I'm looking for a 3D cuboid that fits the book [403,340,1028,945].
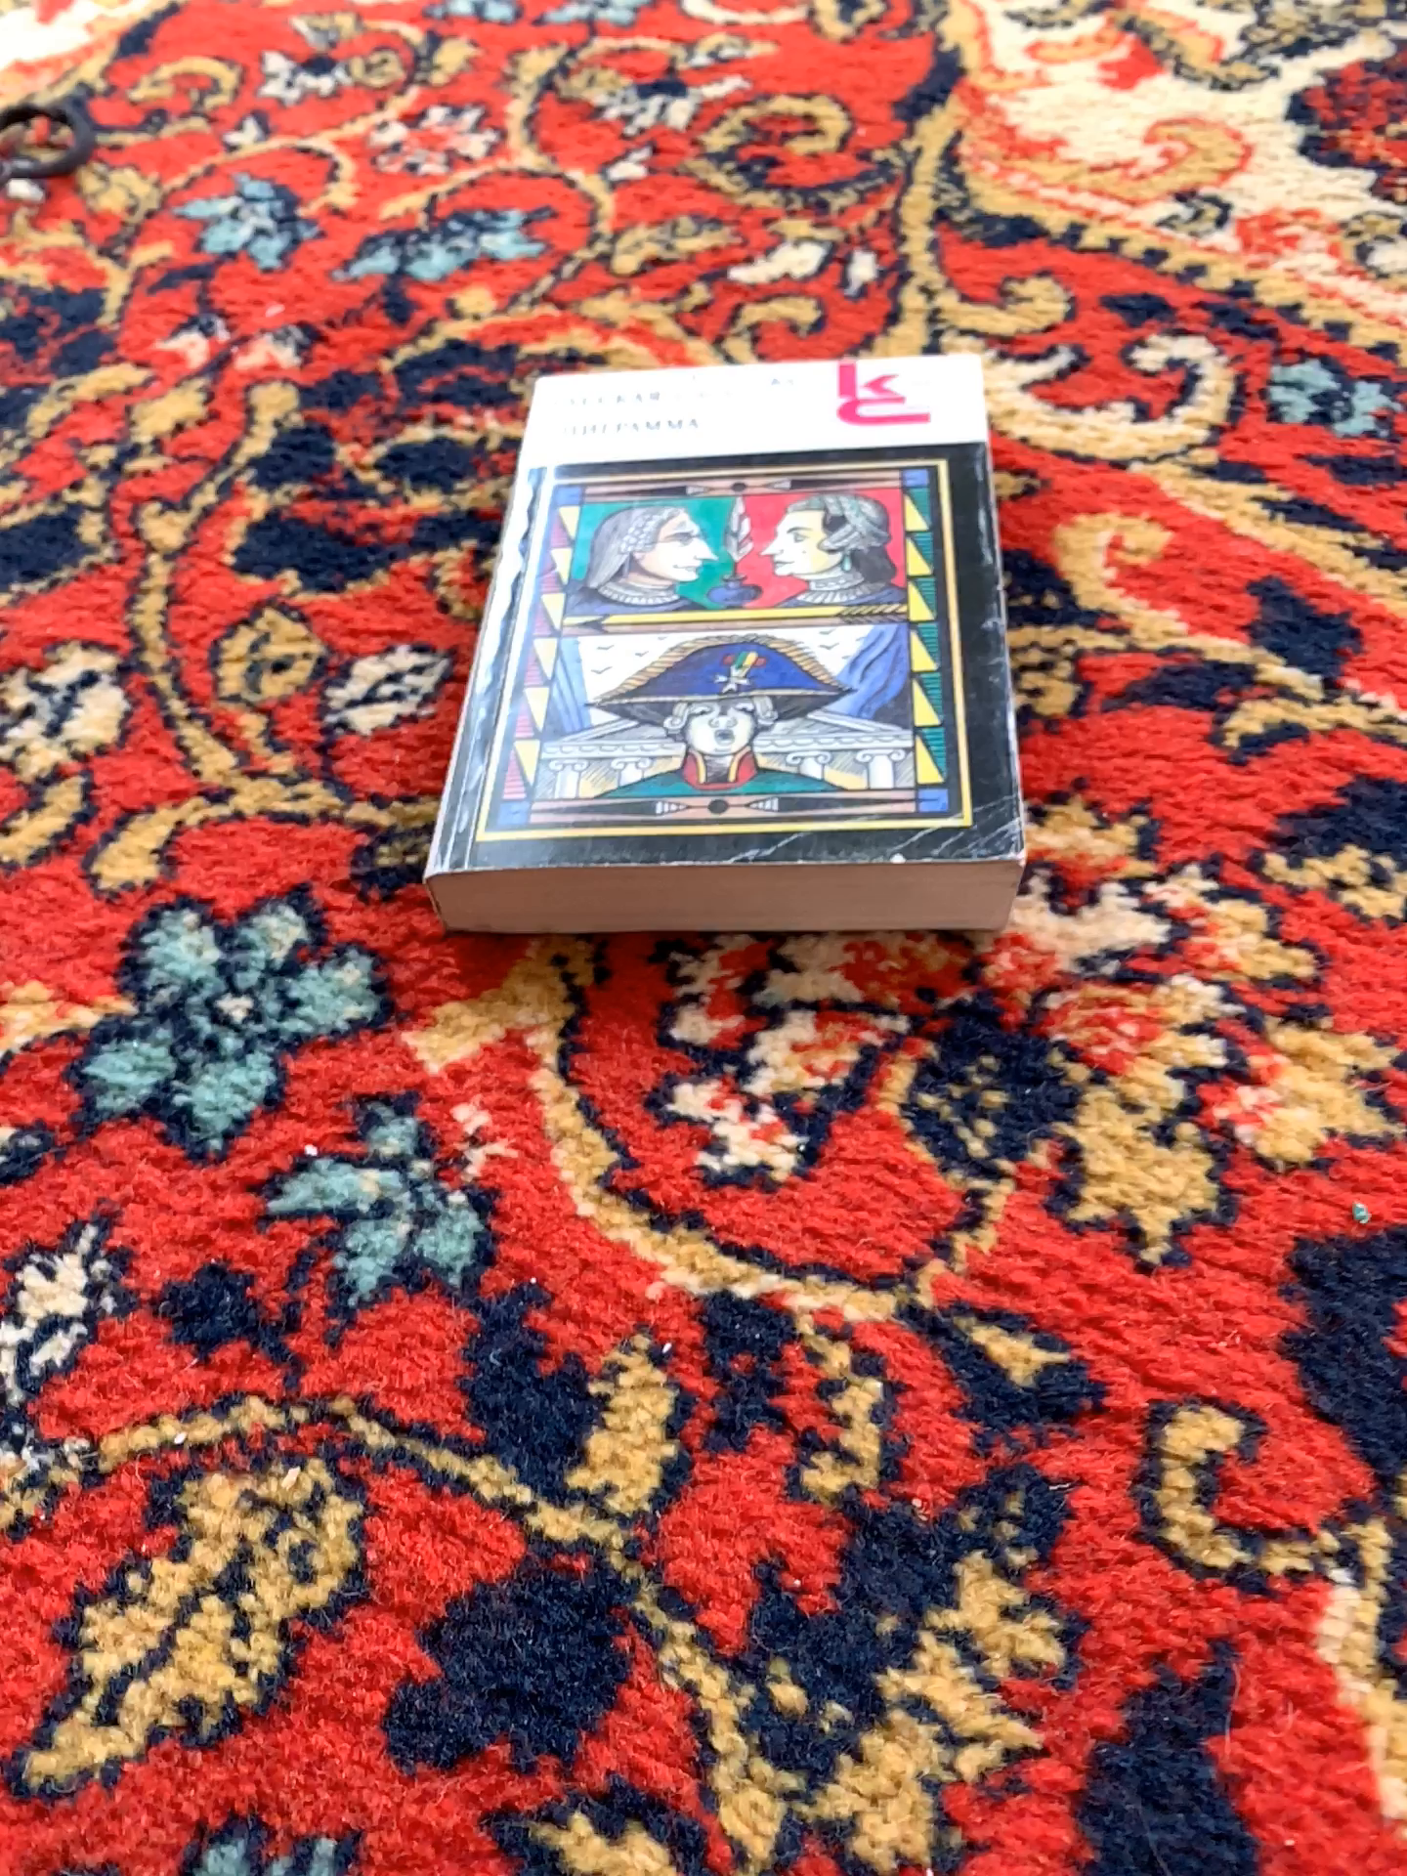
[{"bbox_3d":[0.008,-0.071,0.315,0.110,0.022,0.164,-1,52,8],"label":"book"}]
